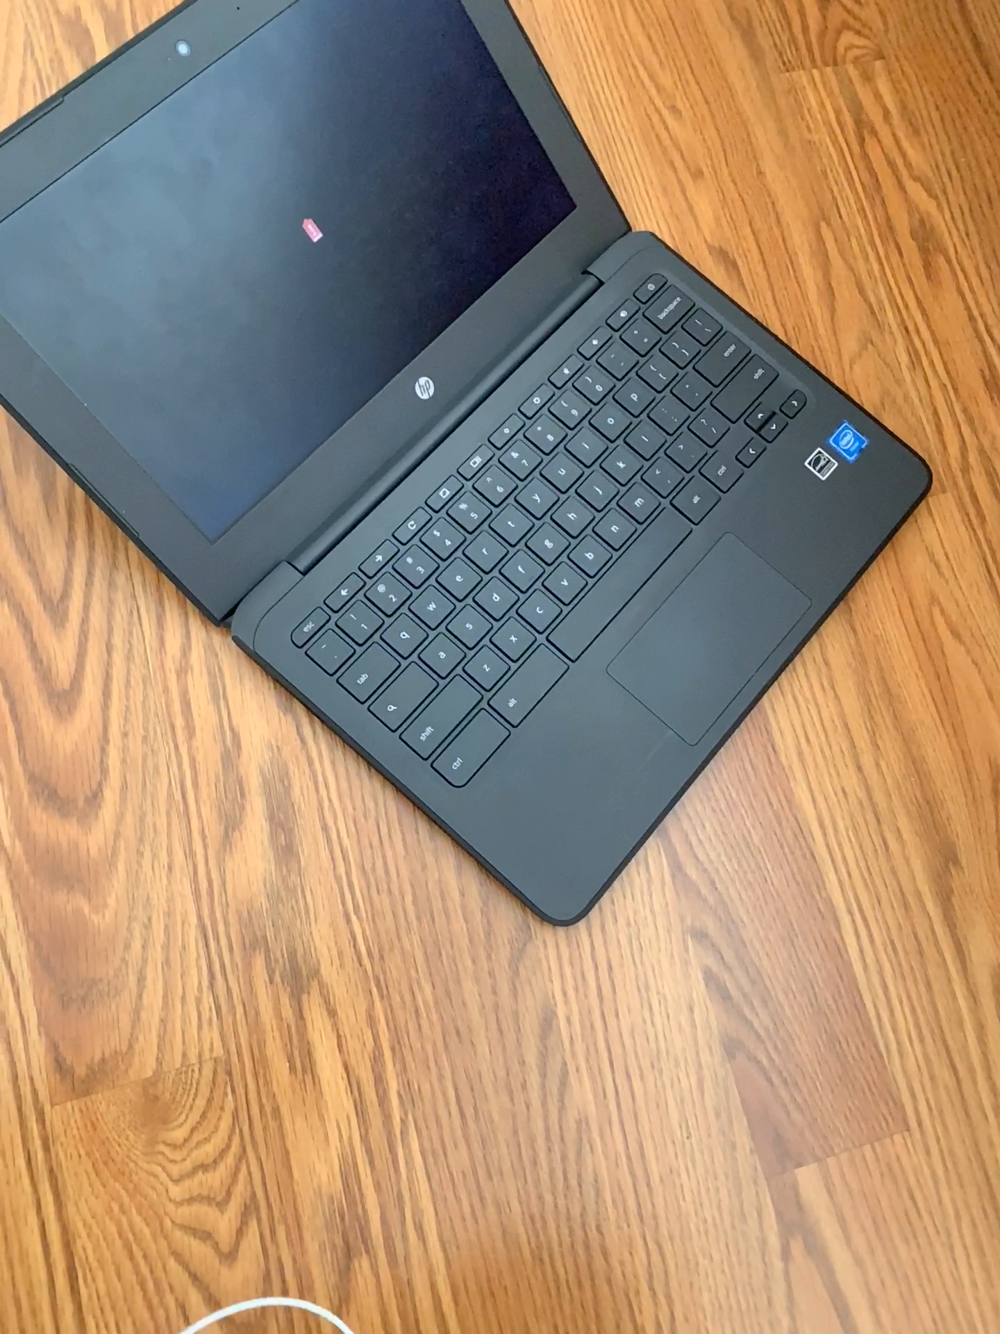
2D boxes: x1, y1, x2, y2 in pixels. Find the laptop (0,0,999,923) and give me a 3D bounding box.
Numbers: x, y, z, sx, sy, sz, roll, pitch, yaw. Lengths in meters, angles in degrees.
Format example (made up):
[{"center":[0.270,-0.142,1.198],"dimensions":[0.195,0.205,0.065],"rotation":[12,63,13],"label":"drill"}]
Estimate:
[{"center":[-0.003,-0.125,0.453],"dimensions":[0.360,0.110,0.299],"rotation":[41,74,5],"label":"laptop"}]
